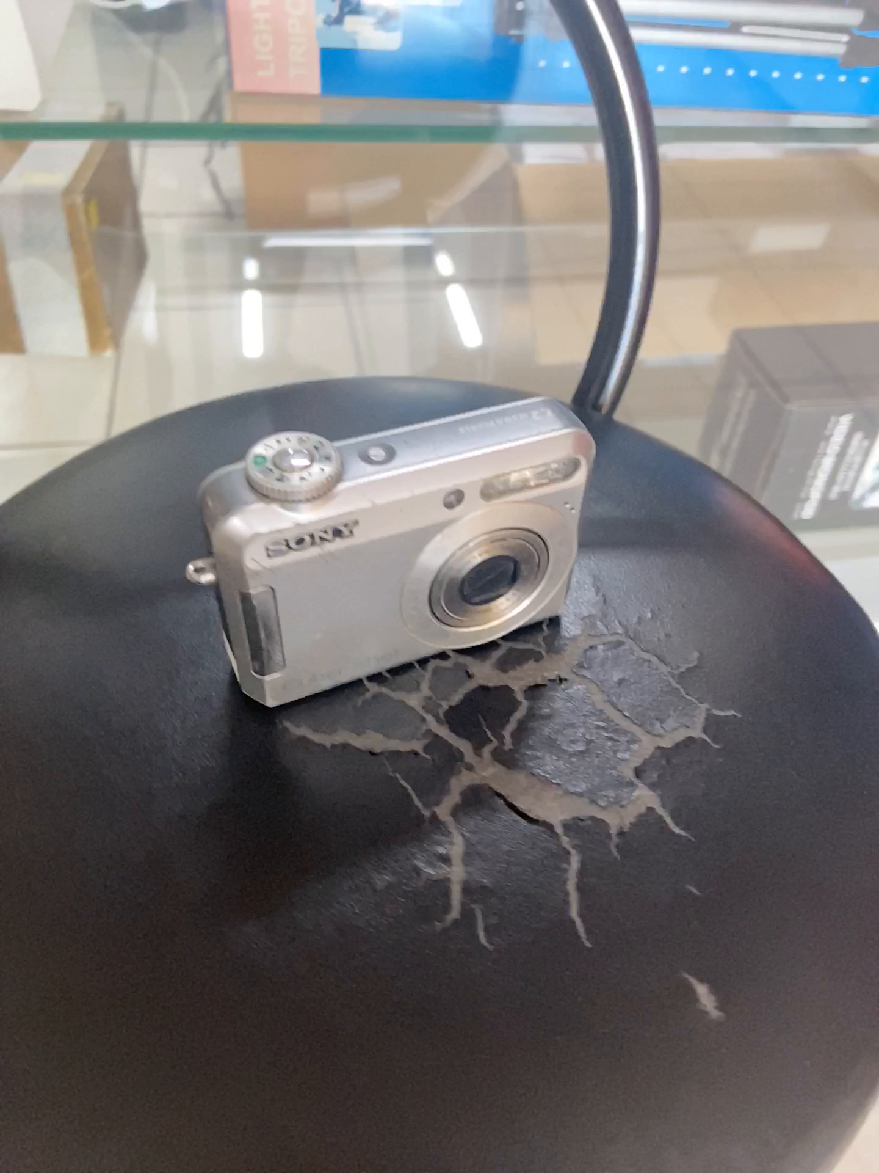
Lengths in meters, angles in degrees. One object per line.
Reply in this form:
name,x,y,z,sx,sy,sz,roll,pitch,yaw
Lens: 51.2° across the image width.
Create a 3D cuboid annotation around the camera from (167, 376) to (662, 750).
camera,-0.005,-0.008,0.216,0.100,0.050,0.040,-17,48,-20
